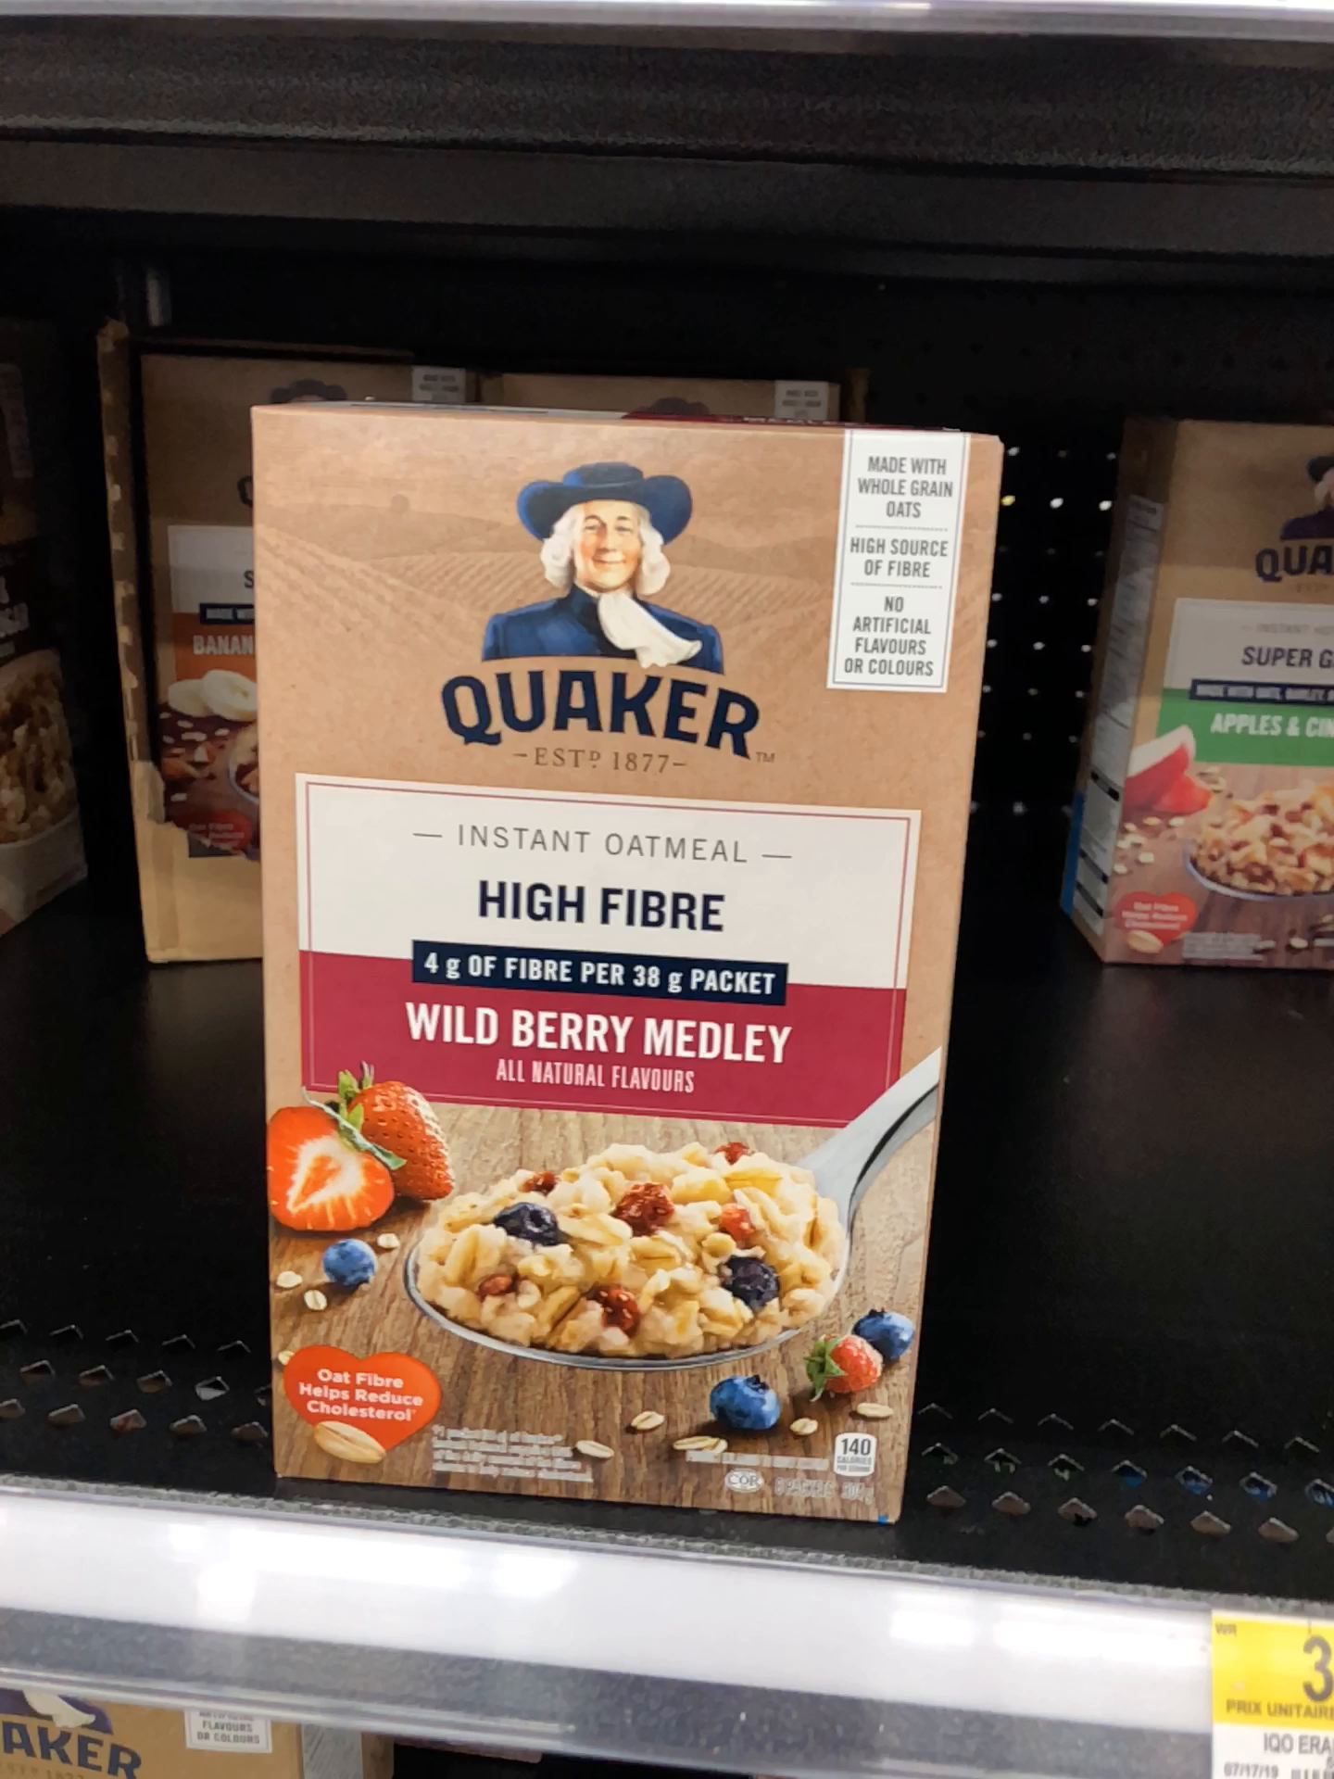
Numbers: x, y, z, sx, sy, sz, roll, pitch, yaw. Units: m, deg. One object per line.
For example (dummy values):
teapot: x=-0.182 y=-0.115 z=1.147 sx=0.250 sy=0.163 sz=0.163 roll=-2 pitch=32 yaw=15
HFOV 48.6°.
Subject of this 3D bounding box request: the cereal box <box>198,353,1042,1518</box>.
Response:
cereal box: x=-0.010 y=0.008 z=0.281 sx=0.130 sy=0.199 sz=0.060 roll=3 pitch=15 yaw=3
